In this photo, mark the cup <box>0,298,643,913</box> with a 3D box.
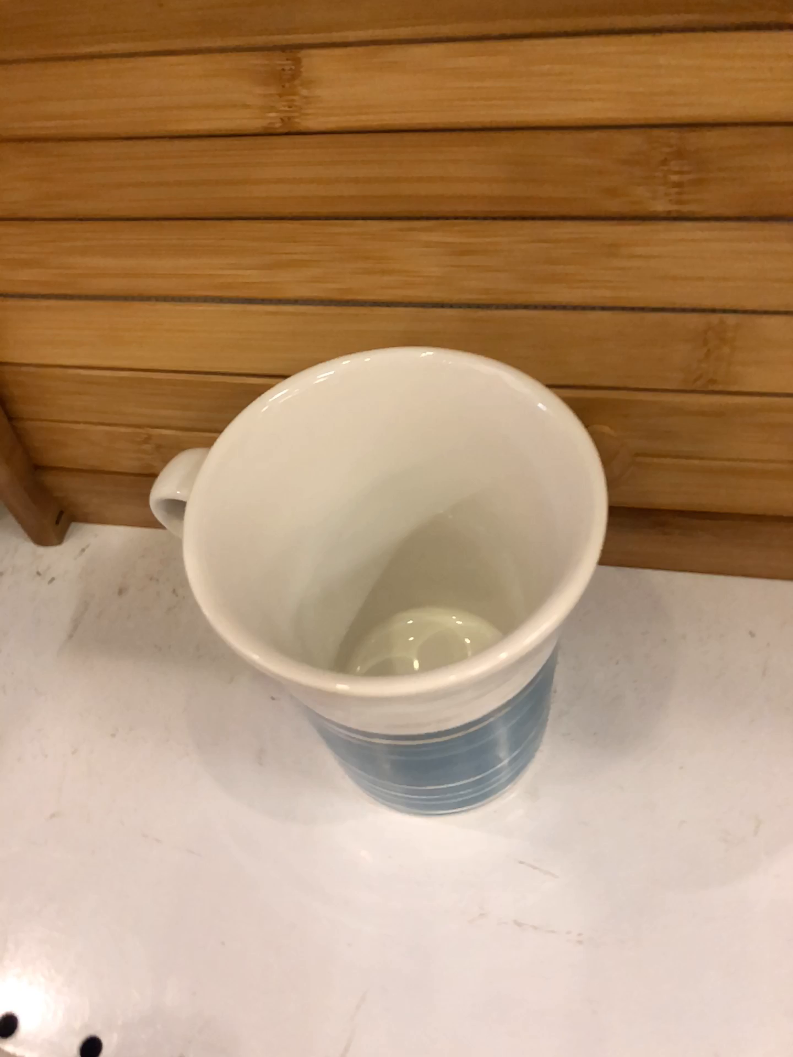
[{"bbox_3d":[-0.014,0.017,0.216,0.120,0.090,0.090,14,59,18],"label":"cup"}]
